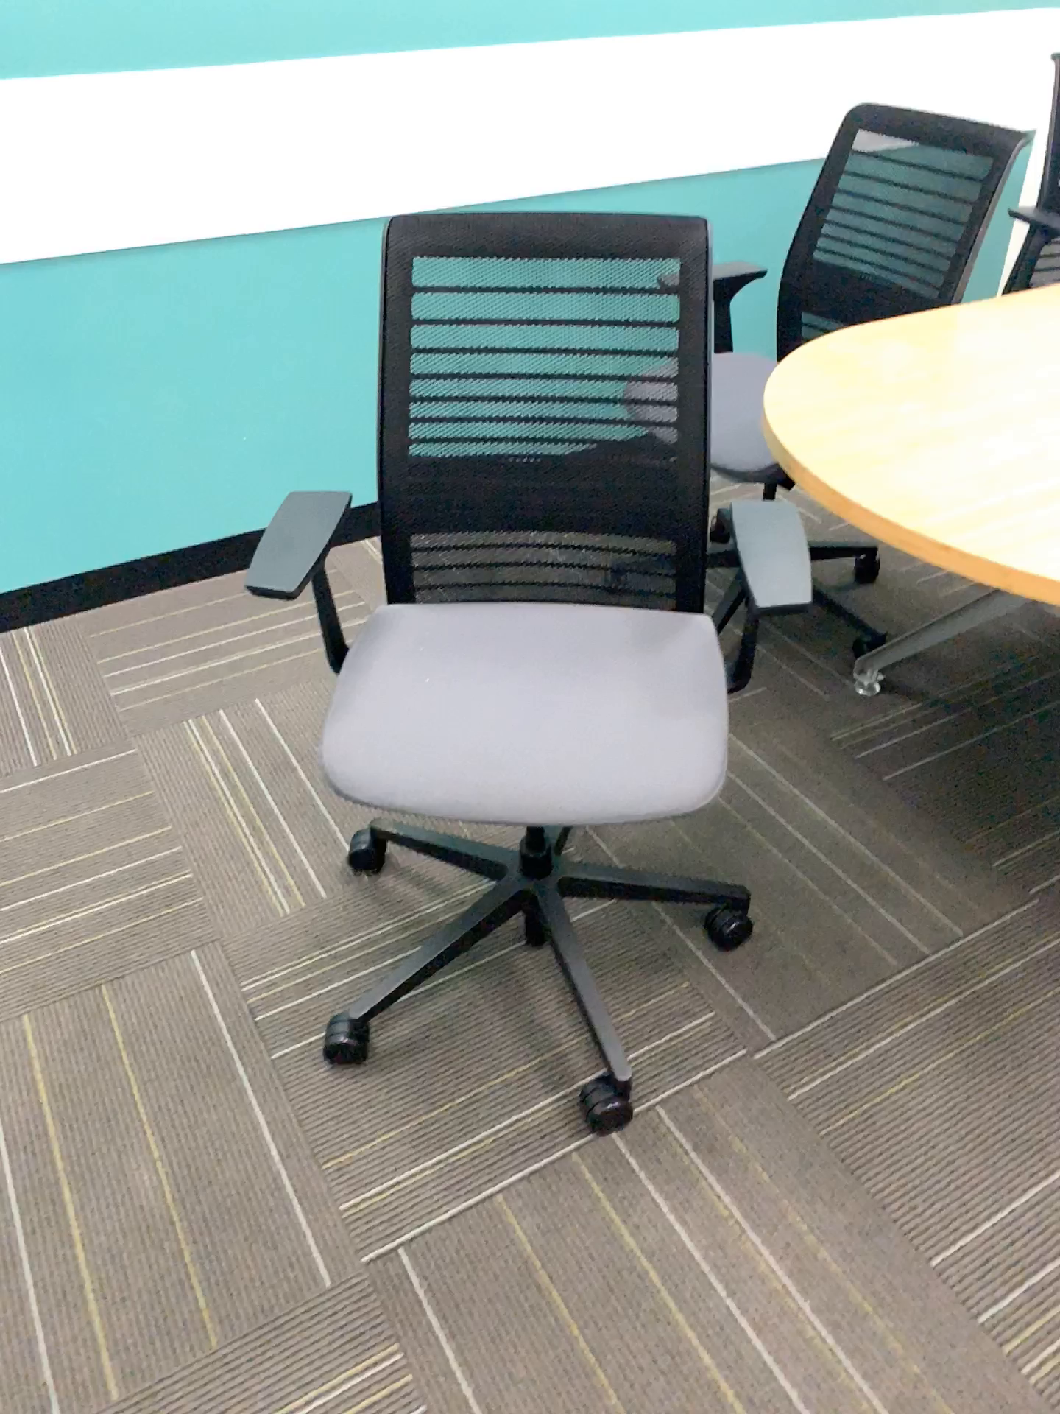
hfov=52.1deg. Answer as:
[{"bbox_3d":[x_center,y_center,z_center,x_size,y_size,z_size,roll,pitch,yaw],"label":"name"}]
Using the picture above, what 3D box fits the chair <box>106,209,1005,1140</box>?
[{"bbox_3d":[0.019,-0.065,1.511,0.730,0.984,0.845,0,37,0],"label":"chair"}]
